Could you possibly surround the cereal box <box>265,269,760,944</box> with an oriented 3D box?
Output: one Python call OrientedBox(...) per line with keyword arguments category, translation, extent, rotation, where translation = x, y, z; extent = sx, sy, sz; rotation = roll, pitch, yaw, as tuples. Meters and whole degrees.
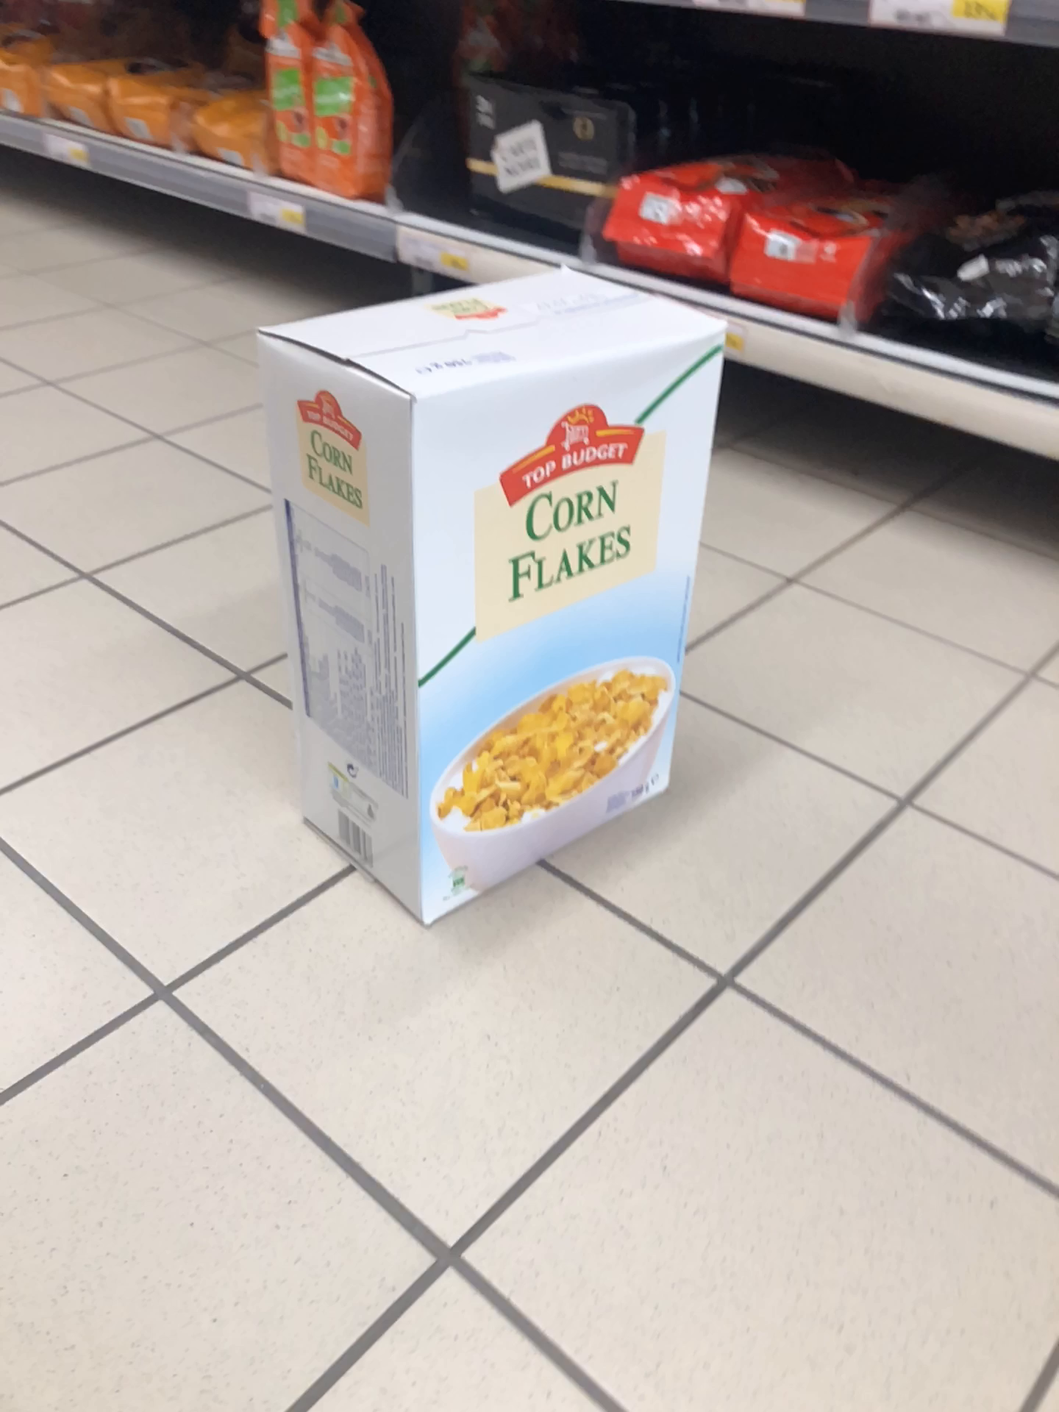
OrientedBox(category="cereal box", translation=(-0.011, -0.057, 0.618), extent=(0.201, 0.288, 0.120), rotation=(-24, 42, -35))
